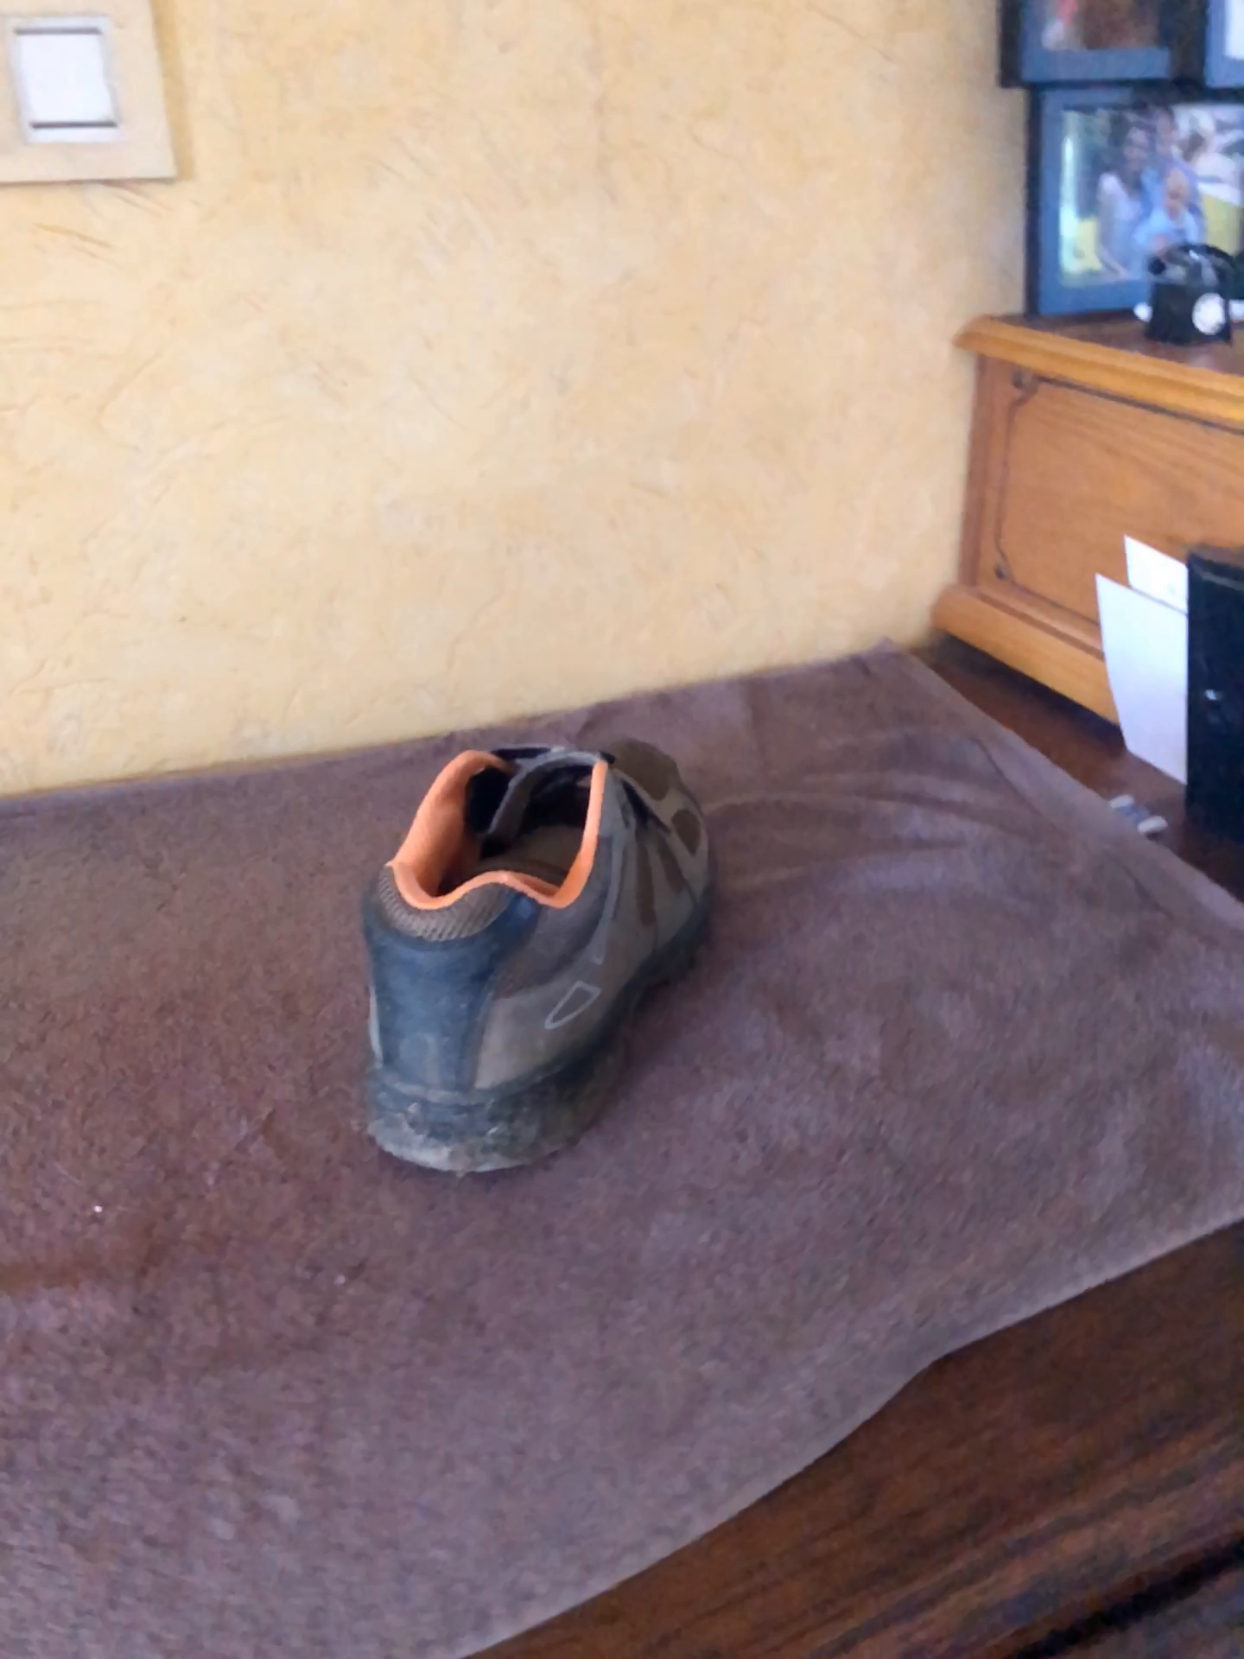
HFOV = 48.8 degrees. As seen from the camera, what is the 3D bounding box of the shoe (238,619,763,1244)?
[{"bbox_3d":[-0.025,0.016,0.534,0.110,0.099,0.272,7,30,14],"label":"shoe"}]
